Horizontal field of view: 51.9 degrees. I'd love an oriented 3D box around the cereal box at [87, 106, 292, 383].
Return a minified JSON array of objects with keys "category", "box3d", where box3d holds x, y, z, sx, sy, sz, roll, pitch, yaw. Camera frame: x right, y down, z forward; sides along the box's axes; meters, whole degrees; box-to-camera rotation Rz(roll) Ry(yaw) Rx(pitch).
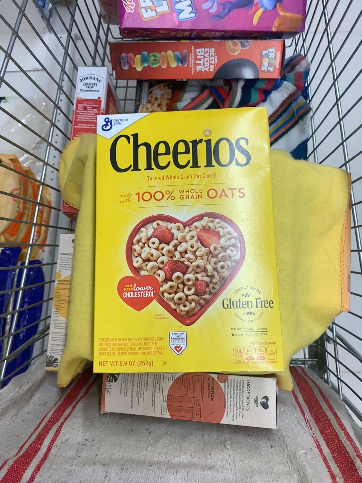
[{"category":"cereal box","box3d":[0.005,0.002,0.396,0.190,0.060,0.270,-2,80,4]}]
